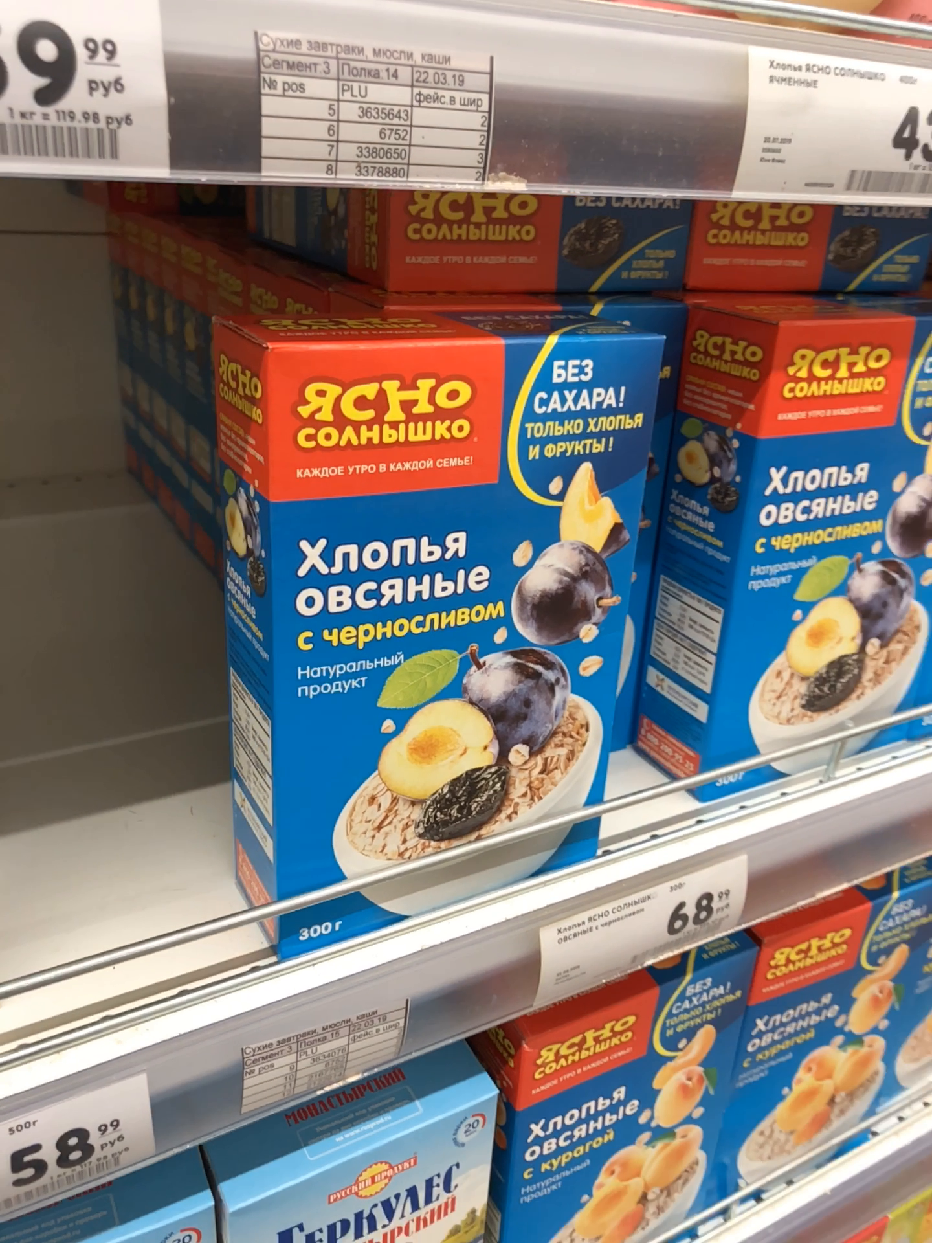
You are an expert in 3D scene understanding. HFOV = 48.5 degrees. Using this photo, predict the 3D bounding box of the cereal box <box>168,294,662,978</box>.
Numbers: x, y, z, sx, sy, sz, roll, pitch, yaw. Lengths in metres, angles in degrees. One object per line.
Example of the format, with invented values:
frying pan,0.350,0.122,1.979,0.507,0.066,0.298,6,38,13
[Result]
cereal box,-0.018,0.002,0.352,0.140,0.209,0.050,-10,27,-27
